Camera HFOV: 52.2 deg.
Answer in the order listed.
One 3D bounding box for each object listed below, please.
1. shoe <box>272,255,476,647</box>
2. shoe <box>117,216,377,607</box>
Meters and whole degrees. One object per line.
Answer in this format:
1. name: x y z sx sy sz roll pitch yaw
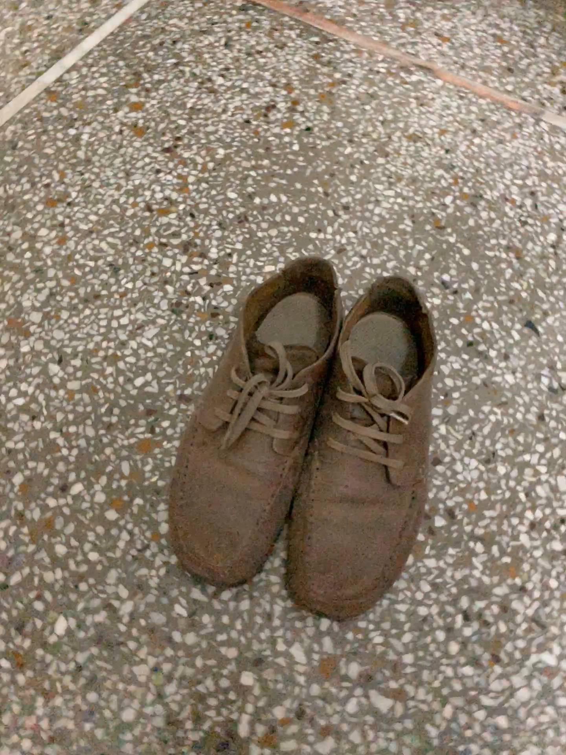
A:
1. shoe: 0.078 0.053 0.478 0.100 0.100 0.289 14 64 4
2. shoe: -0.016 0.020 0.476 0.100 0.100 0.289 18 64 6
